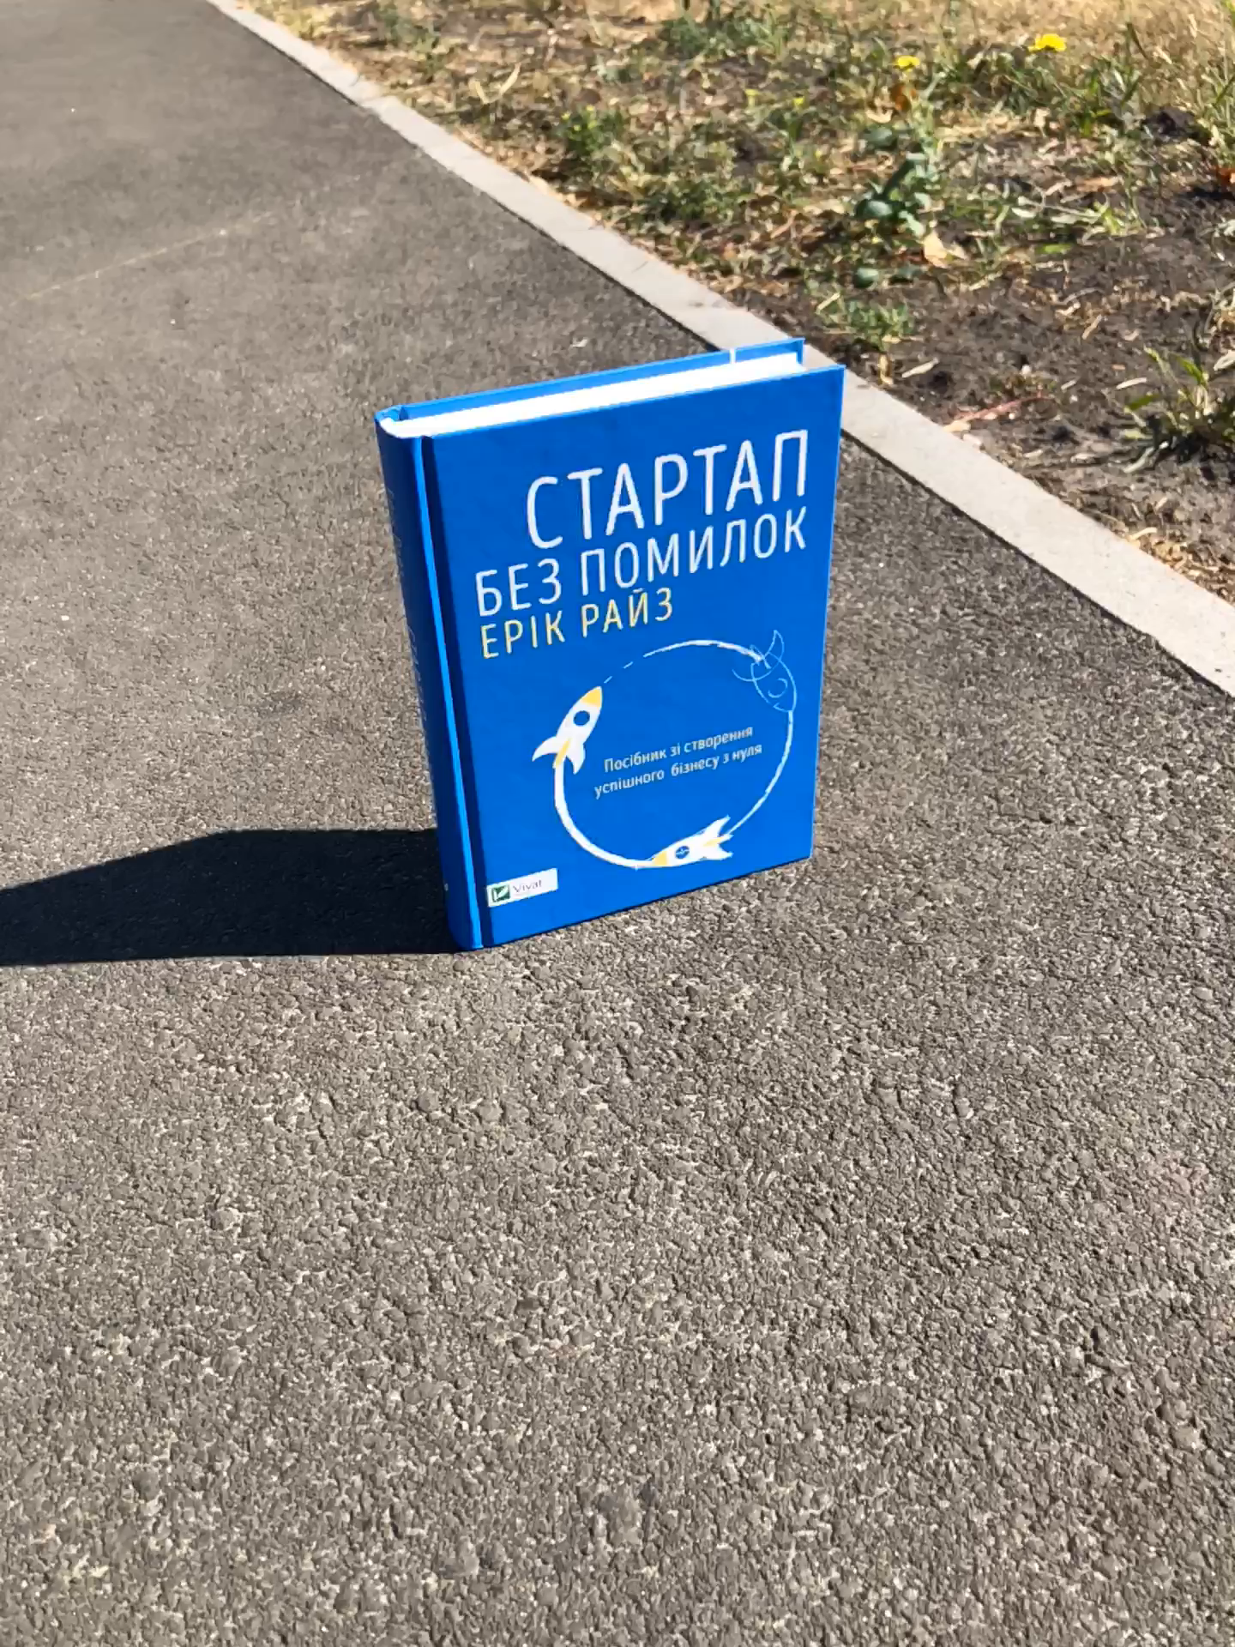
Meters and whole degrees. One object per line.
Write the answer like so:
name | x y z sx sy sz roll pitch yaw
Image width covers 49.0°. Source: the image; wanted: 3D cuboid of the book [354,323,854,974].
book | 0.003 -0.057 0.485 0.154 0.205 0.039 -15 36 -15
